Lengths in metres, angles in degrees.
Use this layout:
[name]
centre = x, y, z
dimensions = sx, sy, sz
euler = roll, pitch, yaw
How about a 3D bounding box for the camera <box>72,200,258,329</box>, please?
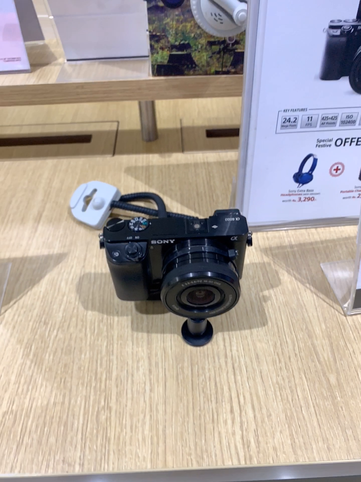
[camera]
centre = -0.011, 0.020, 0.310
dimensions = 0.130, 0.070, 0.070
euler = -3, 47, -1
